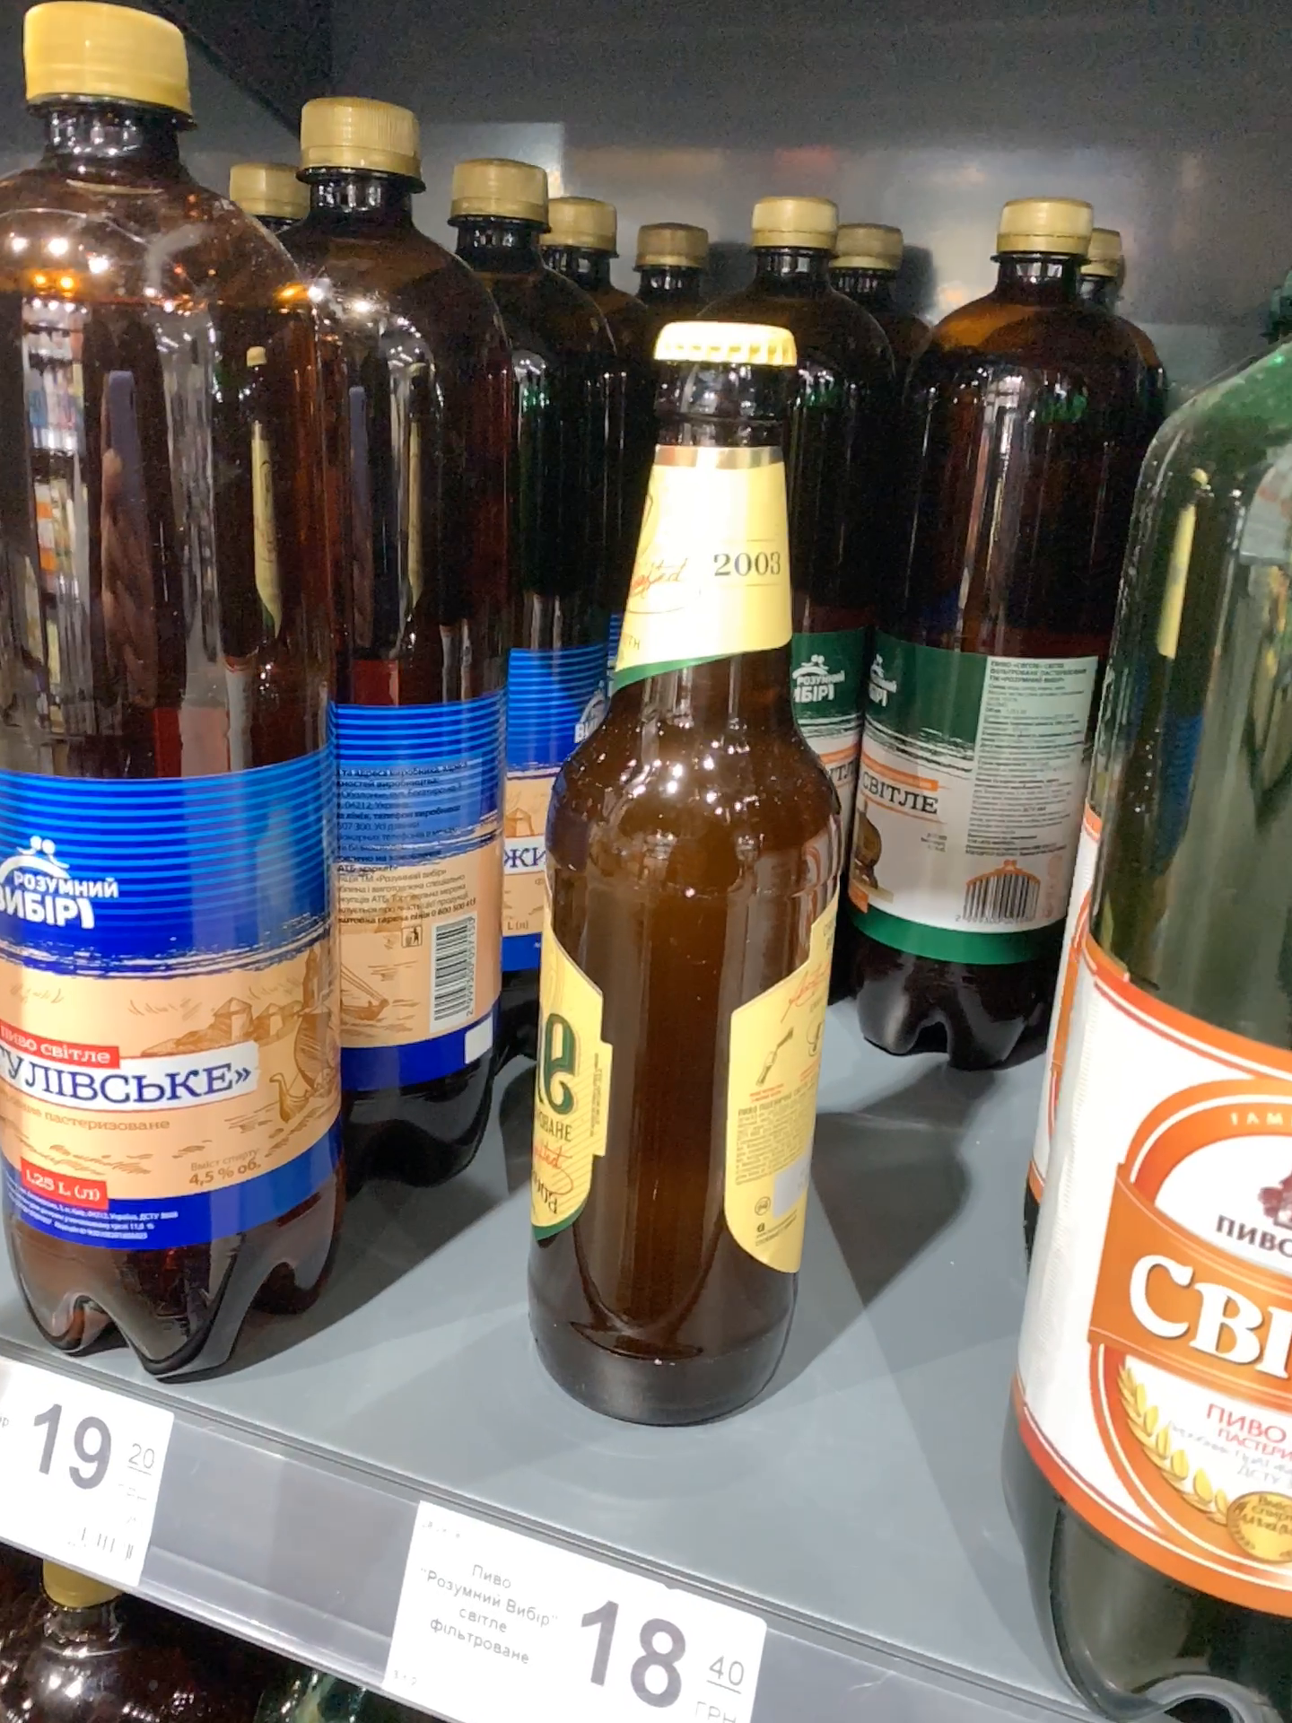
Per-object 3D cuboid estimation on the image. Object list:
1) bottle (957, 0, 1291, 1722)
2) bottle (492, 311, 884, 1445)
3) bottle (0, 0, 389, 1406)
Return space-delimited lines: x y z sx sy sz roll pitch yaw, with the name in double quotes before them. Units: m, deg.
"bottle" 0.117 0.020 0.227 0.084 0.278 0.070 9 20 19
"bottle" 0.007 0.008 0.315 0.070 0.248 0.069 2 19 -1
"bottle" -0.114 -0.025 0.303 0.084 0.284 0.070 6 19 11
